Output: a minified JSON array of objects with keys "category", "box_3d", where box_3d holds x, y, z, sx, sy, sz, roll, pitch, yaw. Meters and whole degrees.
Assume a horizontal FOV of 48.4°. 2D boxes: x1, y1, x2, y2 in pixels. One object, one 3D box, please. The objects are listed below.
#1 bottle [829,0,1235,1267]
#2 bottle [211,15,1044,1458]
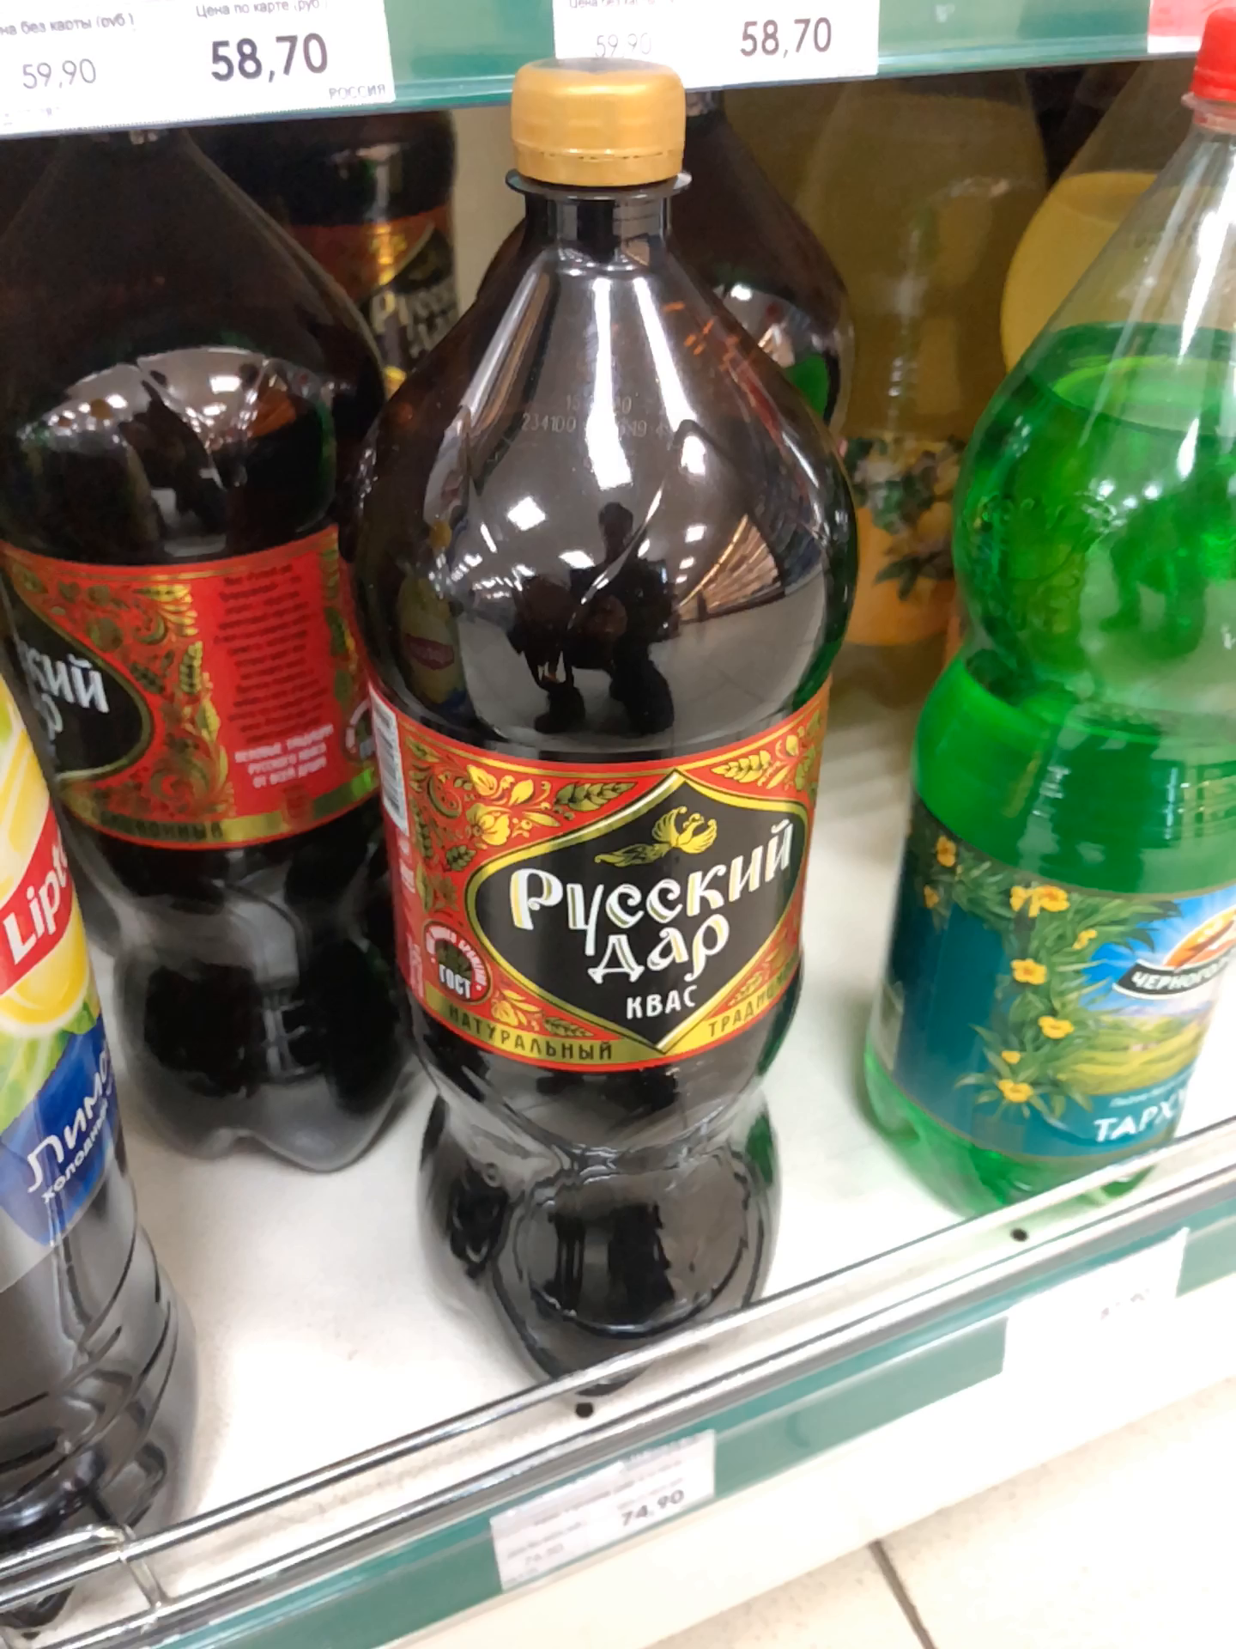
[{"category":"bottle","box_3d":[0.135,-0.028,0.367,0.099,0.327,0.085,-12,40,-15]},{"category":"bottle","box_3d":[-0.006,0.004,0.325,0.110,0.322,0.101,0,38,0]}]
